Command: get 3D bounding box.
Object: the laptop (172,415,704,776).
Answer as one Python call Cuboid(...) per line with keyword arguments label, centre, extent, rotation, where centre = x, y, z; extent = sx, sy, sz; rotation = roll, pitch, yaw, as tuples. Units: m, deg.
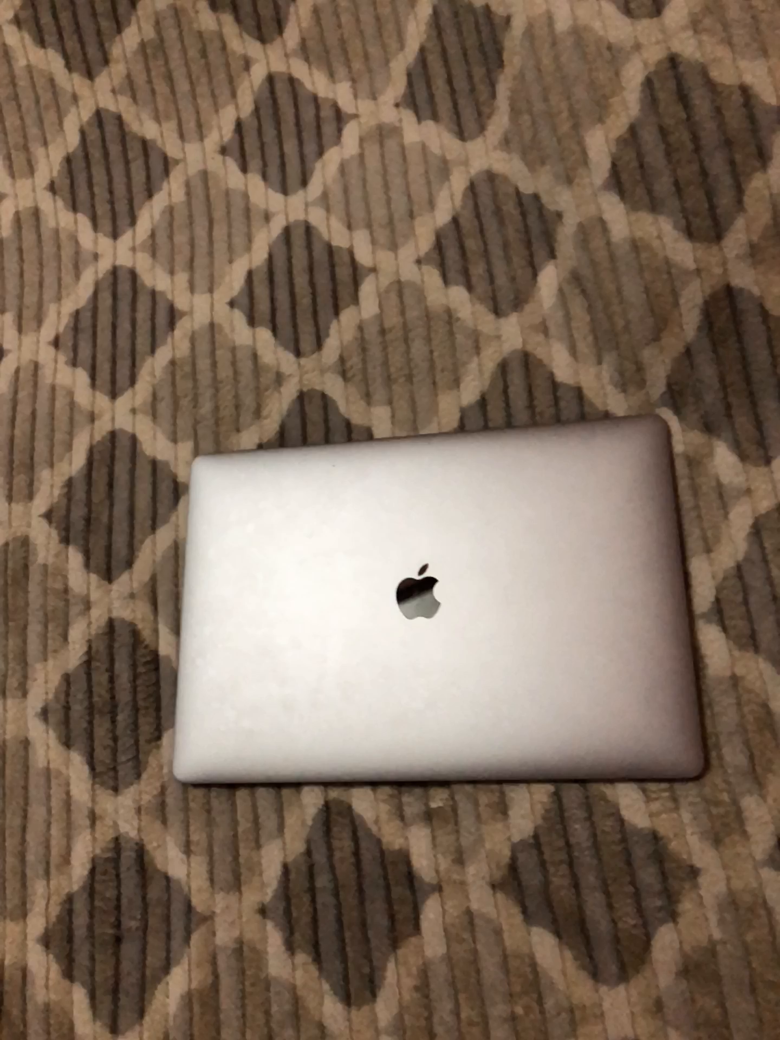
Cuboid(label="laptop", centre=(0.020, 0.053, 0.610), extent=(0.358, 0.007, 0.246), rotation=(-4, 73, 11))
